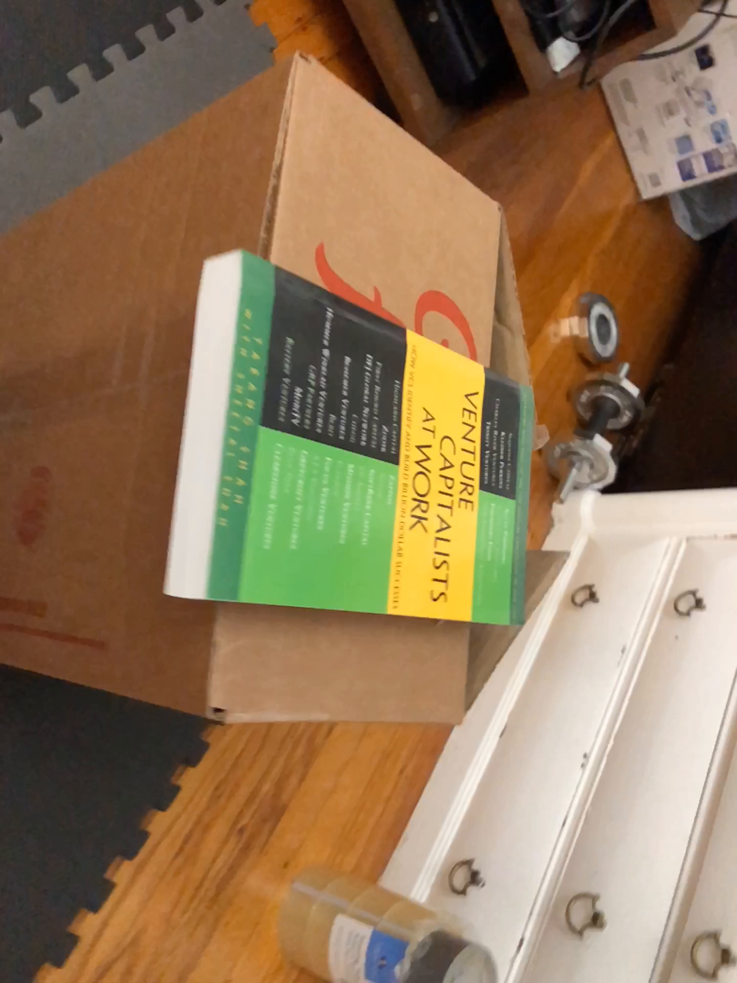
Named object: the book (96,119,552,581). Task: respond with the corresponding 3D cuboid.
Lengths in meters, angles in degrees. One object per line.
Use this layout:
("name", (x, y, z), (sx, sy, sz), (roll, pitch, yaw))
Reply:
("book", (0.002, -0.046, 0.413), (0.261, 0.040, 0.160), (13, 77, -44))
